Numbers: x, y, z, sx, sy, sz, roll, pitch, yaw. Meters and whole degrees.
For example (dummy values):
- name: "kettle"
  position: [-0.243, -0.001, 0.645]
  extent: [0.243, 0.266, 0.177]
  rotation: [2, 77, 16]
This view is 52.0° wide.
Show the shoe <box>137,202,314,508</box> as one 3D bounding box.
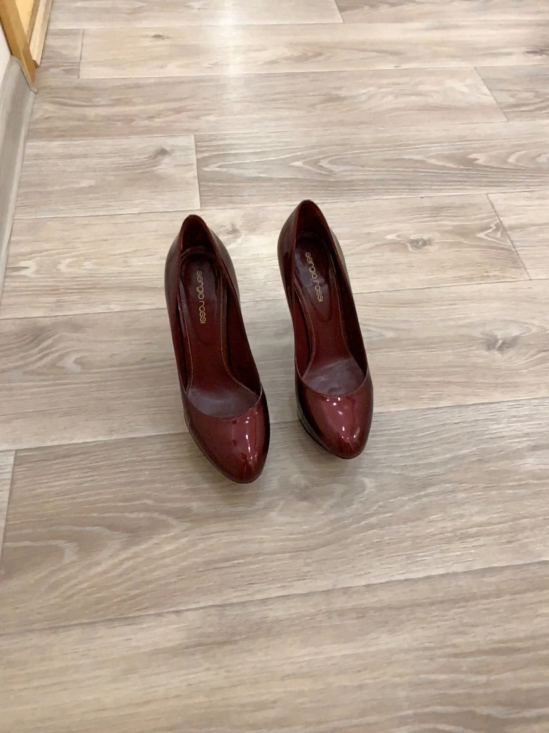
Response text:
- name: "shoe"
  position: [-0.049, -0.011, 0.497]
  extent: [0.086, 0.149, 0.211]
  rotation: [-13, 57, -12]

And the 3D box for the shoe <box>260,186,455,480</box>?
- name: "shoe"
  position: [0.057, -0.032, 0.516]
  extent: [0.086, 0.149, 0.211]
  rotation: [-11, 57, -11]
